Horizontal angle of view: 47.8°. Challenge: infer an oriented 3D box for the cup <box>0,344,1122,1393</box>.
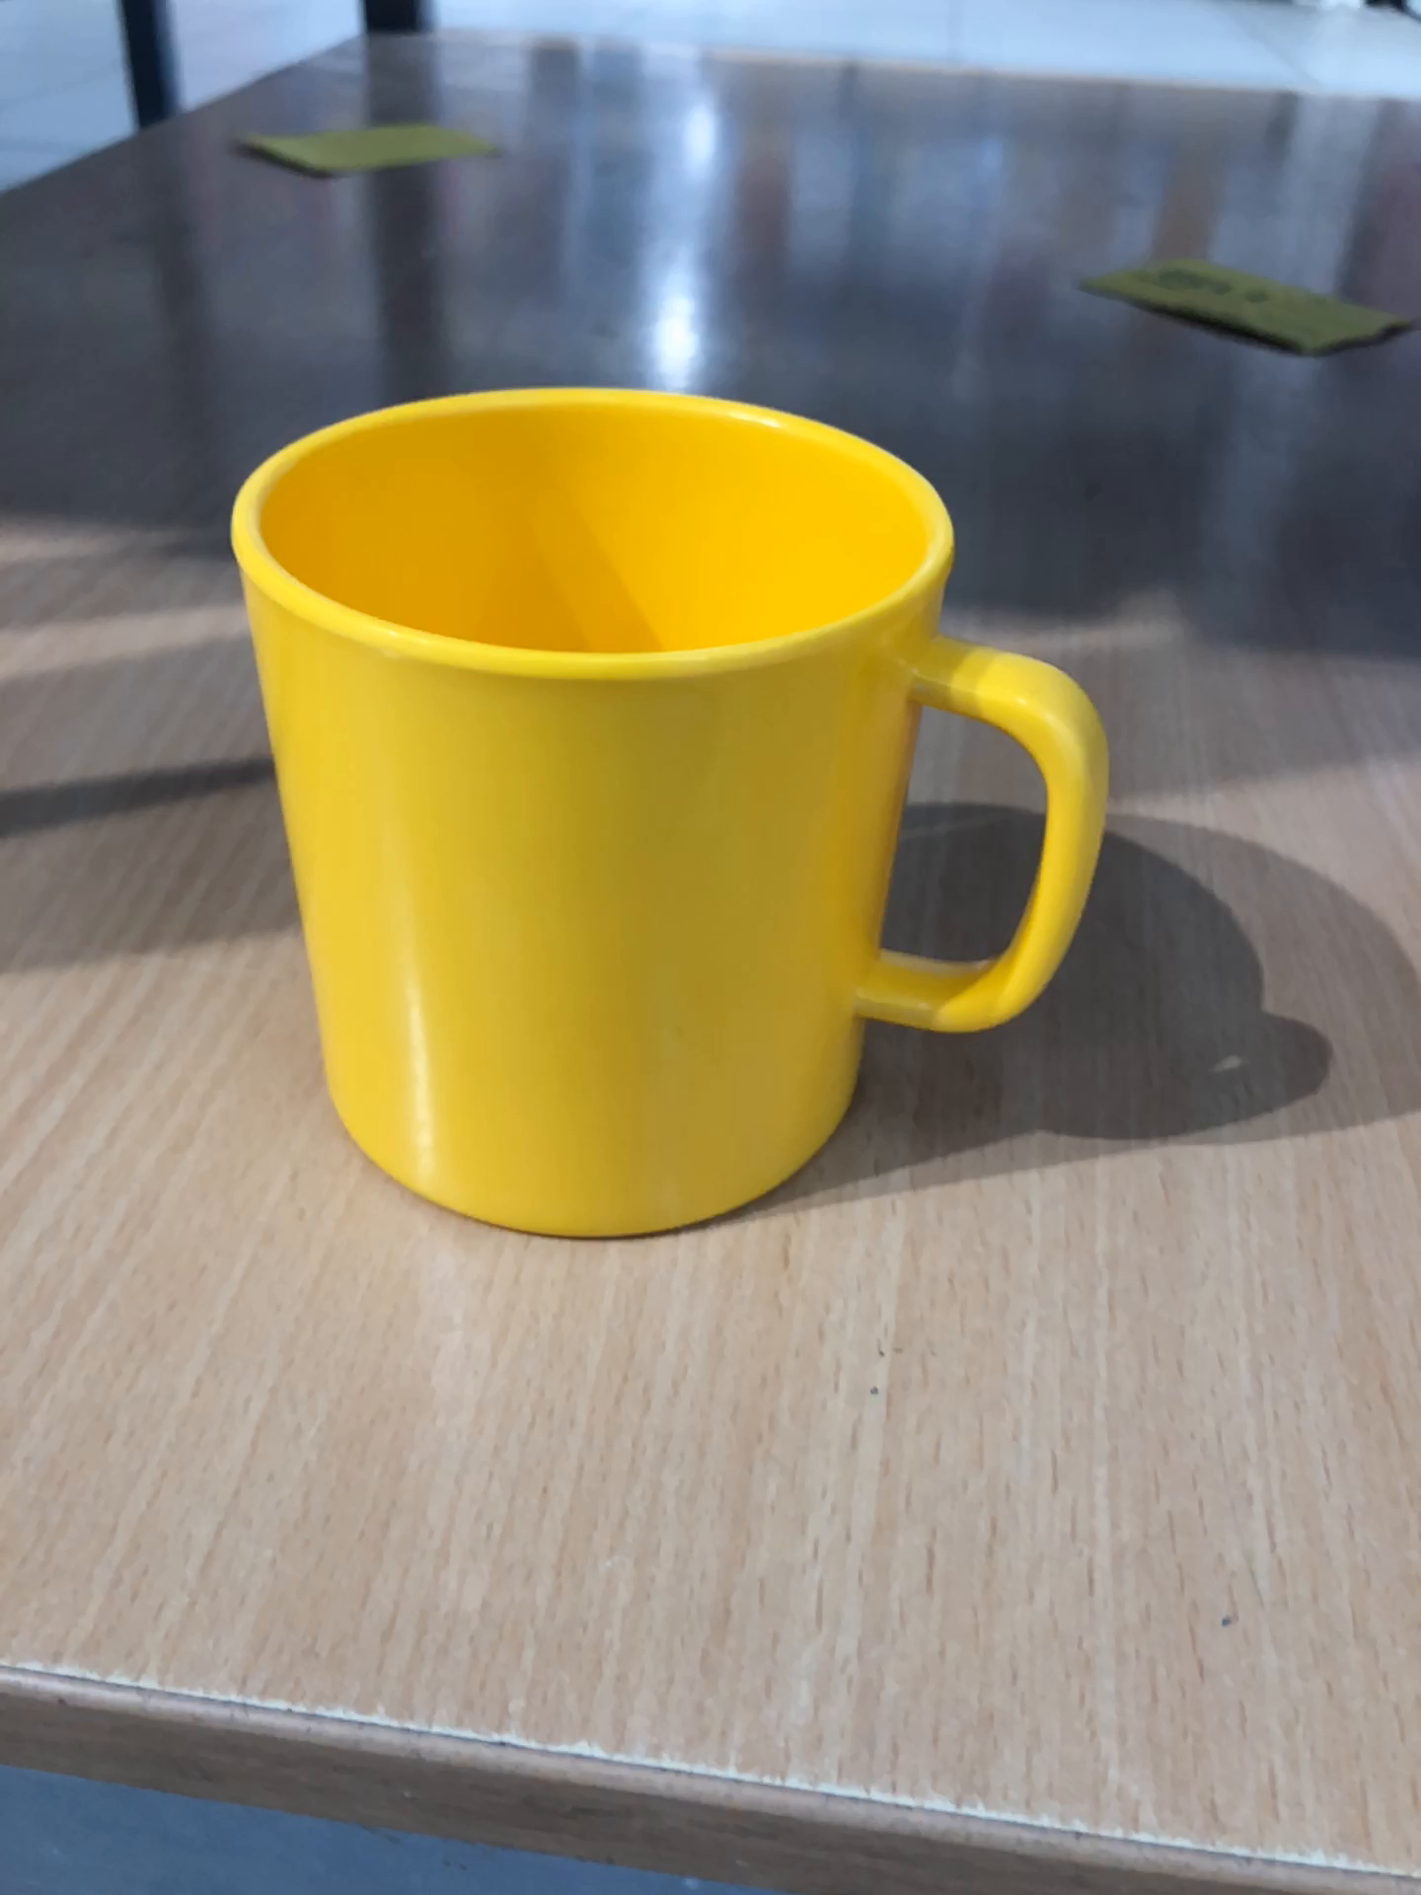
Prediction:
[{"bbox_3d":[-0.014,-0.016,0.211,0.110,0.089,0.081,12,37,12],"label":"cup"}]
